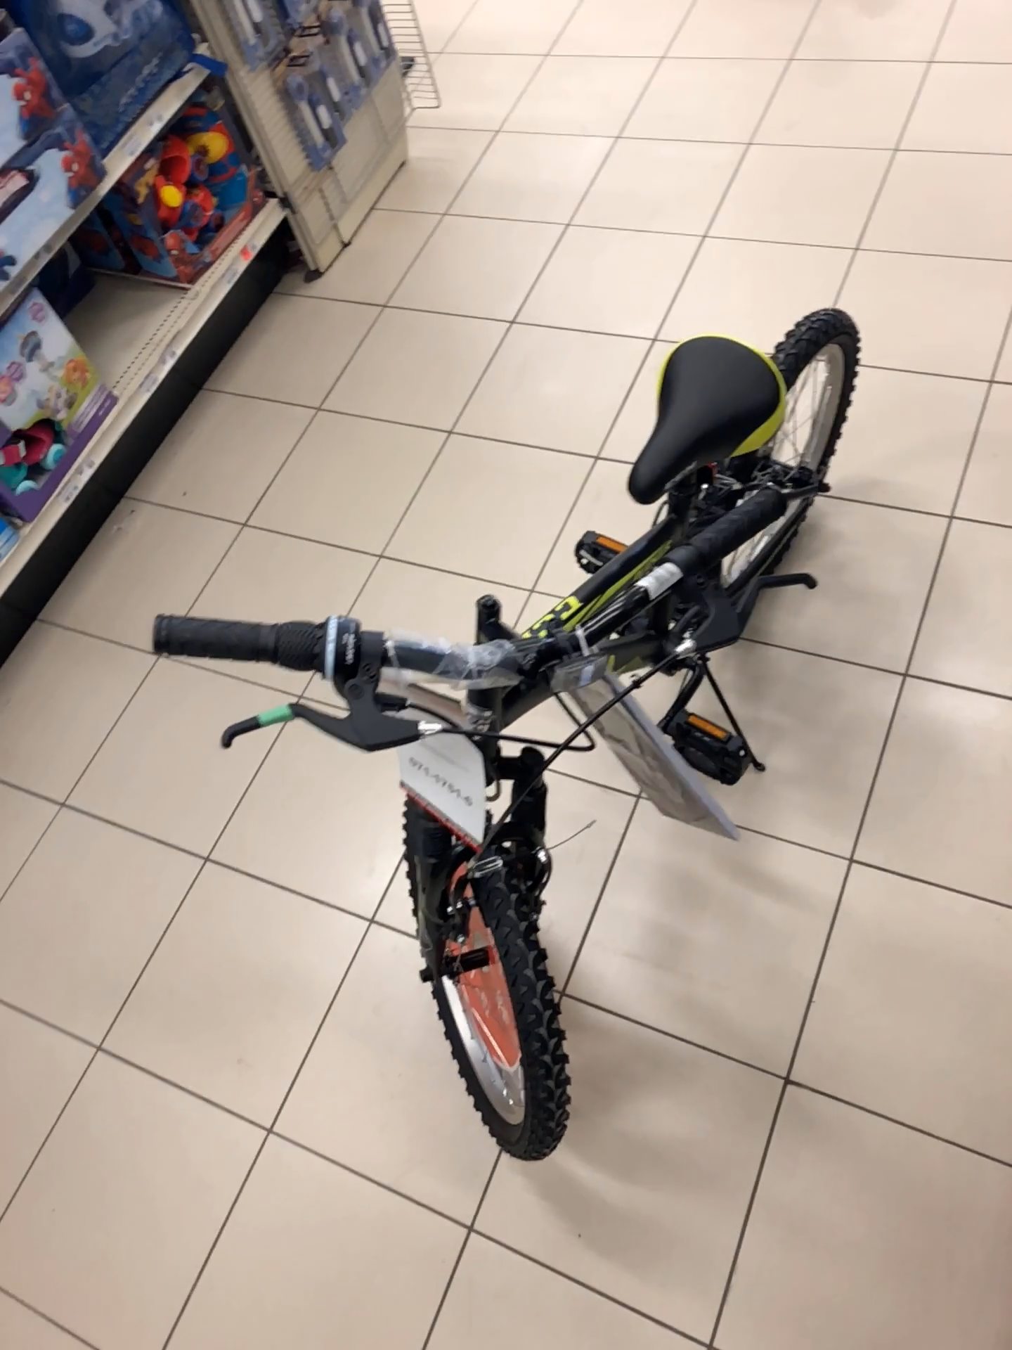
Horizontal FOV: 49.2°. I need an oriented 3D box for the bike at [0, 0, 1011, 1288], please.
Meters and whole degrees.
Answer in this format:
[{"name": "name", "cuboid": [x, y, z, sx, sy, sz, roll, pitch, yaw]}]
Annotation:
[{"name": "bike", "cuboid": [0.227, -0.093, 1.256, 0.550, 0.862, 1.196, 16, 63, 23]}]
